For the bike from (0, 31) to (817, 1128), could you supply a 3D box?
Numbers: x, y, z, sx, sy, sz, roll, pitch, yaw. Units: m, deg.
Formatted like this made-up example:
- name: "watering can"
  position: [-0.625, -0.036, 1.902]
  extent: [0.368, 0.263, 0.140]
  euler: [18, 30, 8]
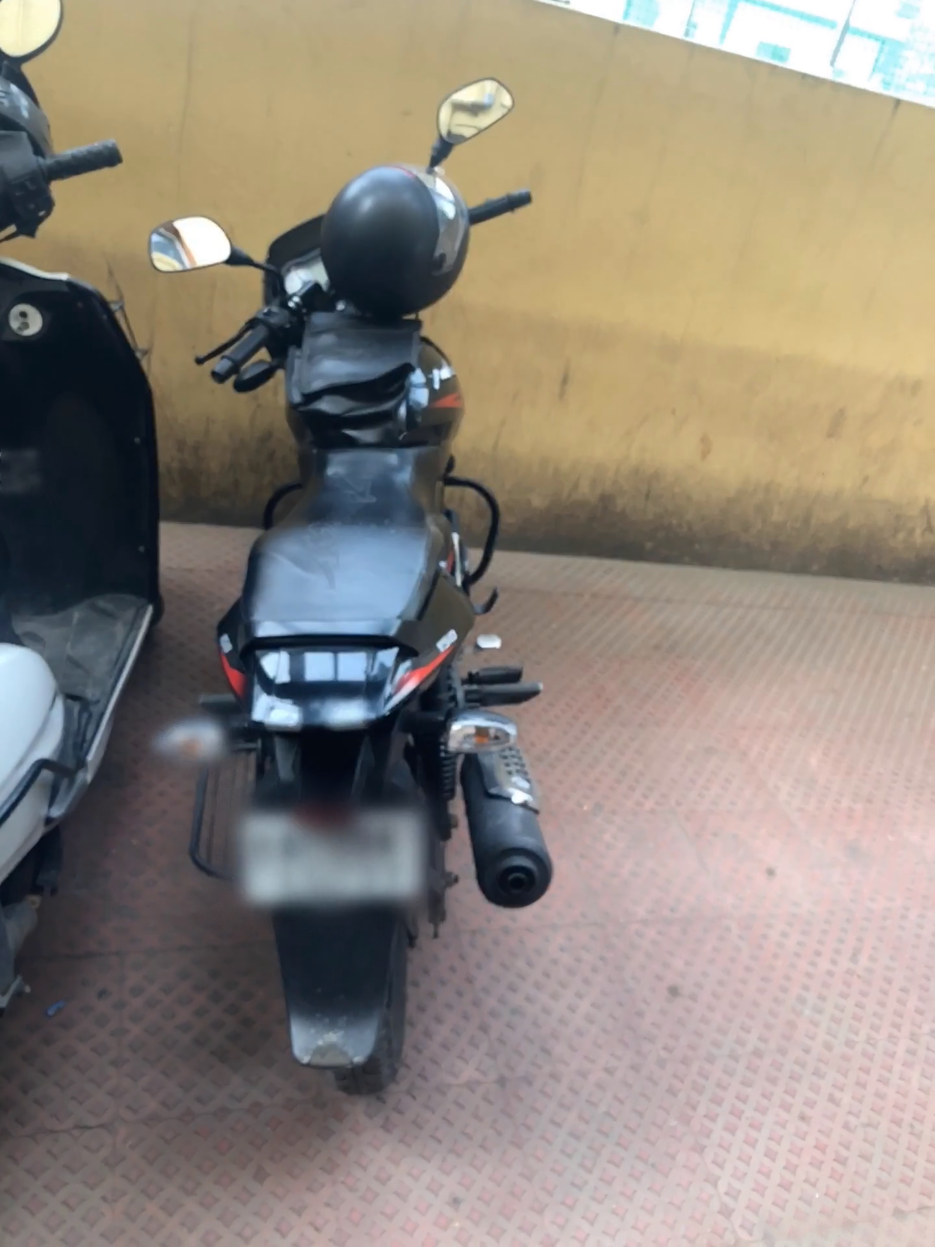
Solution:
- name: "bike"
  position: [-0.339, -0.213, 1.811]
  extent: [0.826, 1.056, 1.612]
  euler: [5, 35, -16]
